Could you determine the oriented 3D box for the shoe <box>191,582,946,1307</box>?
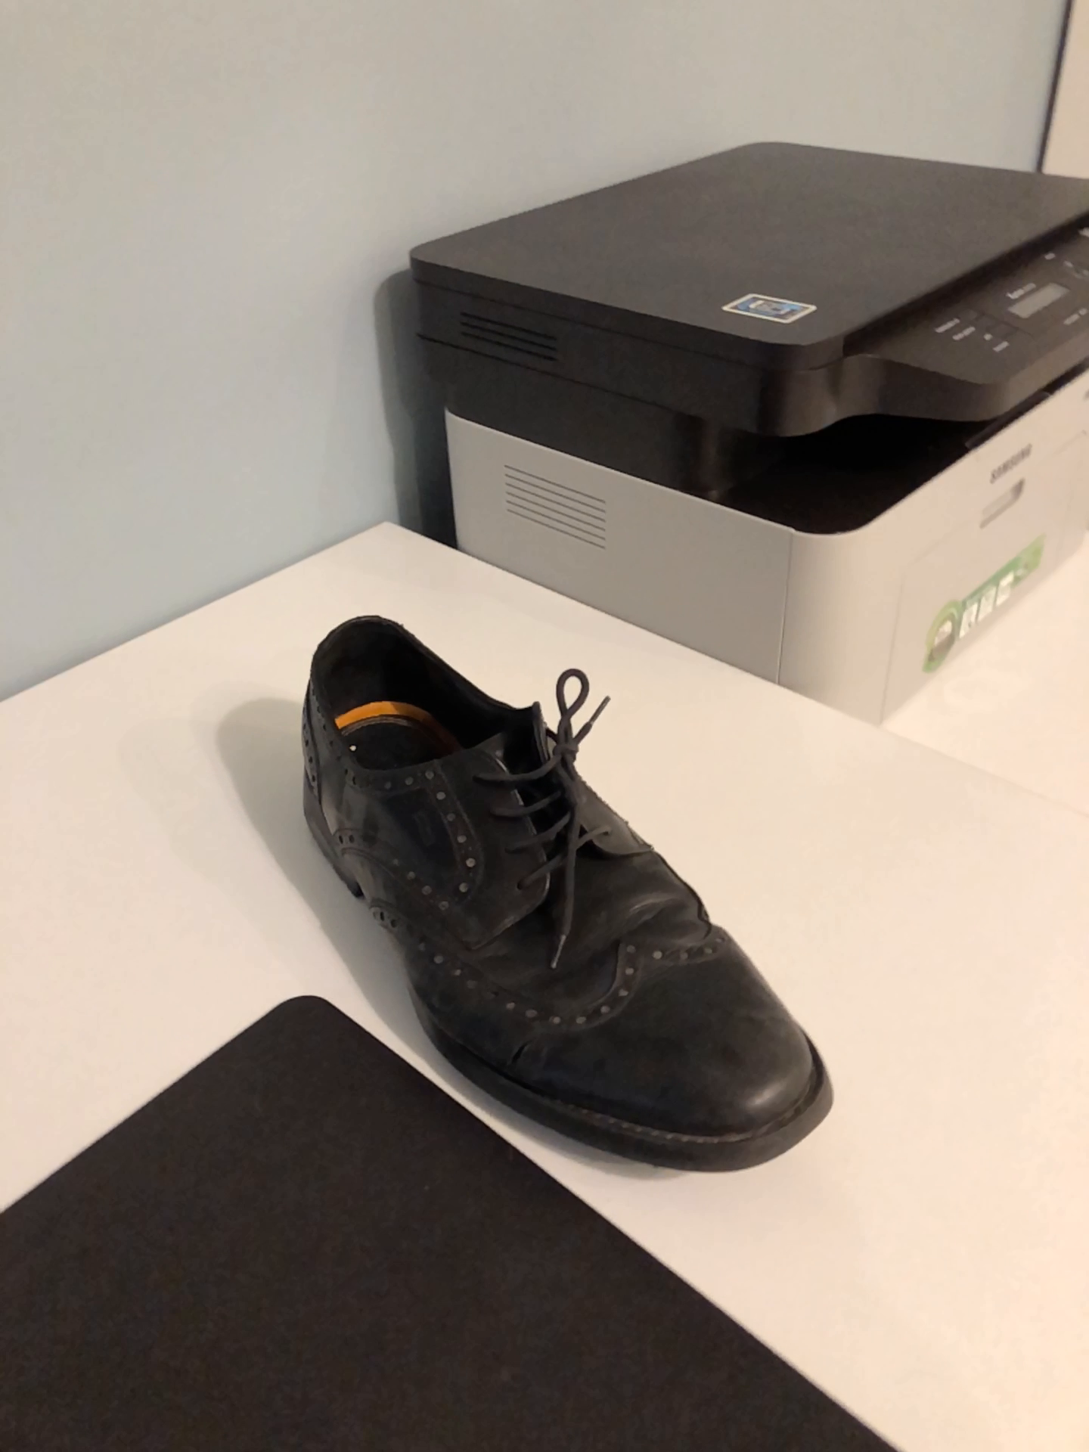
[{"bbox_3d":[-0.013,0.055,0.481,0.119,0.079,0.314,-26,42,-29],"label":"shoe"}]
